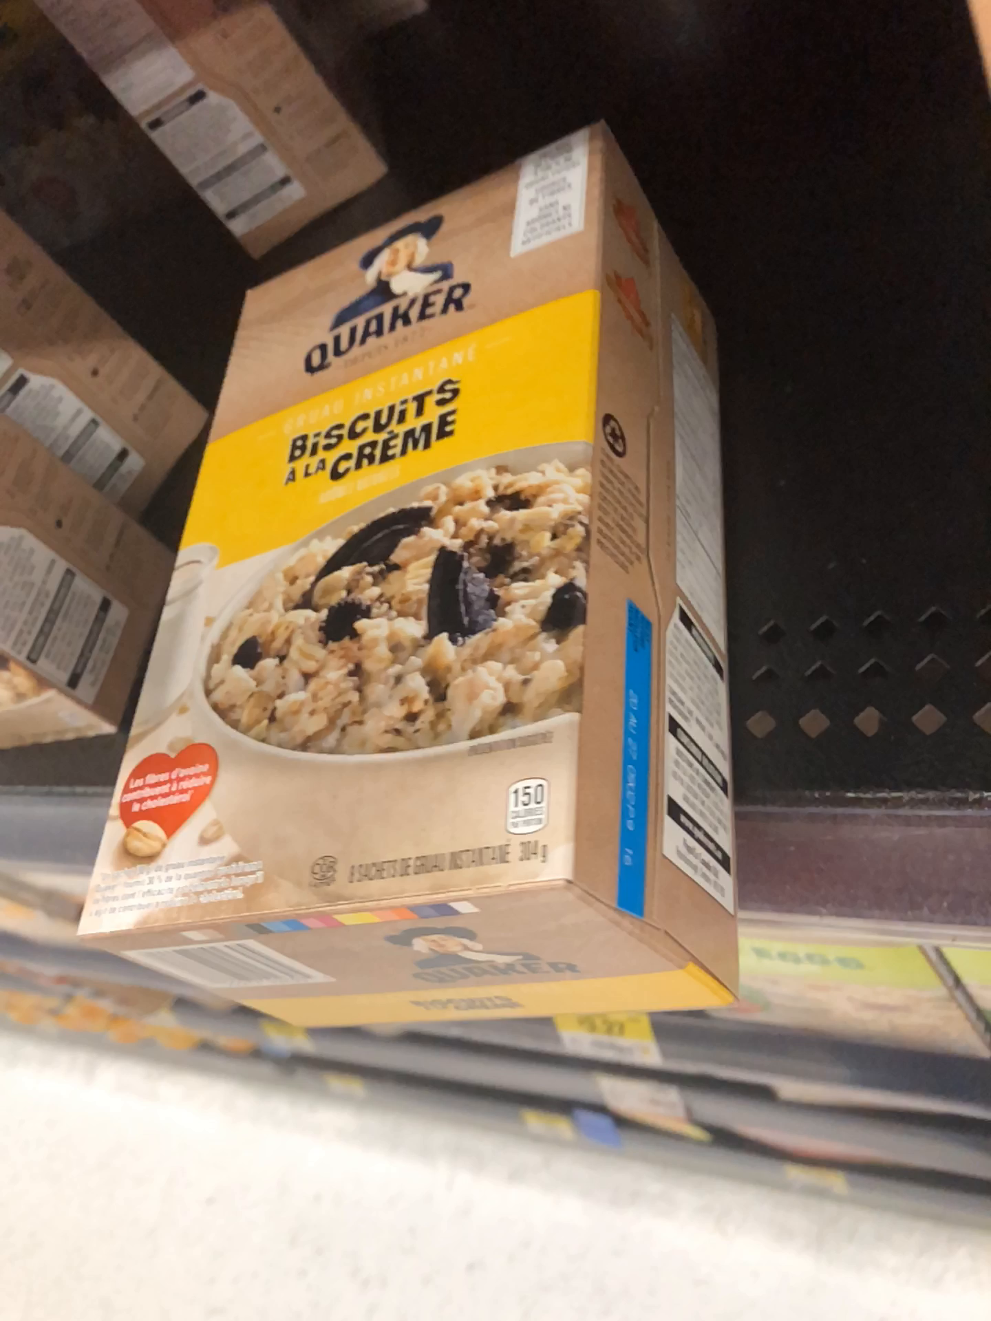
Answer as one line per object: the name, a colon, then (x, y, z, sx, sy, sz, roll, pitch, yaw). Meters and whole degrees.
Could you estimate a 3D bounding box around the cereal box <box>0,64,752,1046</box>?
cereal box: (-0.020, -0.022, 0.276, 0.141, 0.070, 0.210, -13, 56, 29)
